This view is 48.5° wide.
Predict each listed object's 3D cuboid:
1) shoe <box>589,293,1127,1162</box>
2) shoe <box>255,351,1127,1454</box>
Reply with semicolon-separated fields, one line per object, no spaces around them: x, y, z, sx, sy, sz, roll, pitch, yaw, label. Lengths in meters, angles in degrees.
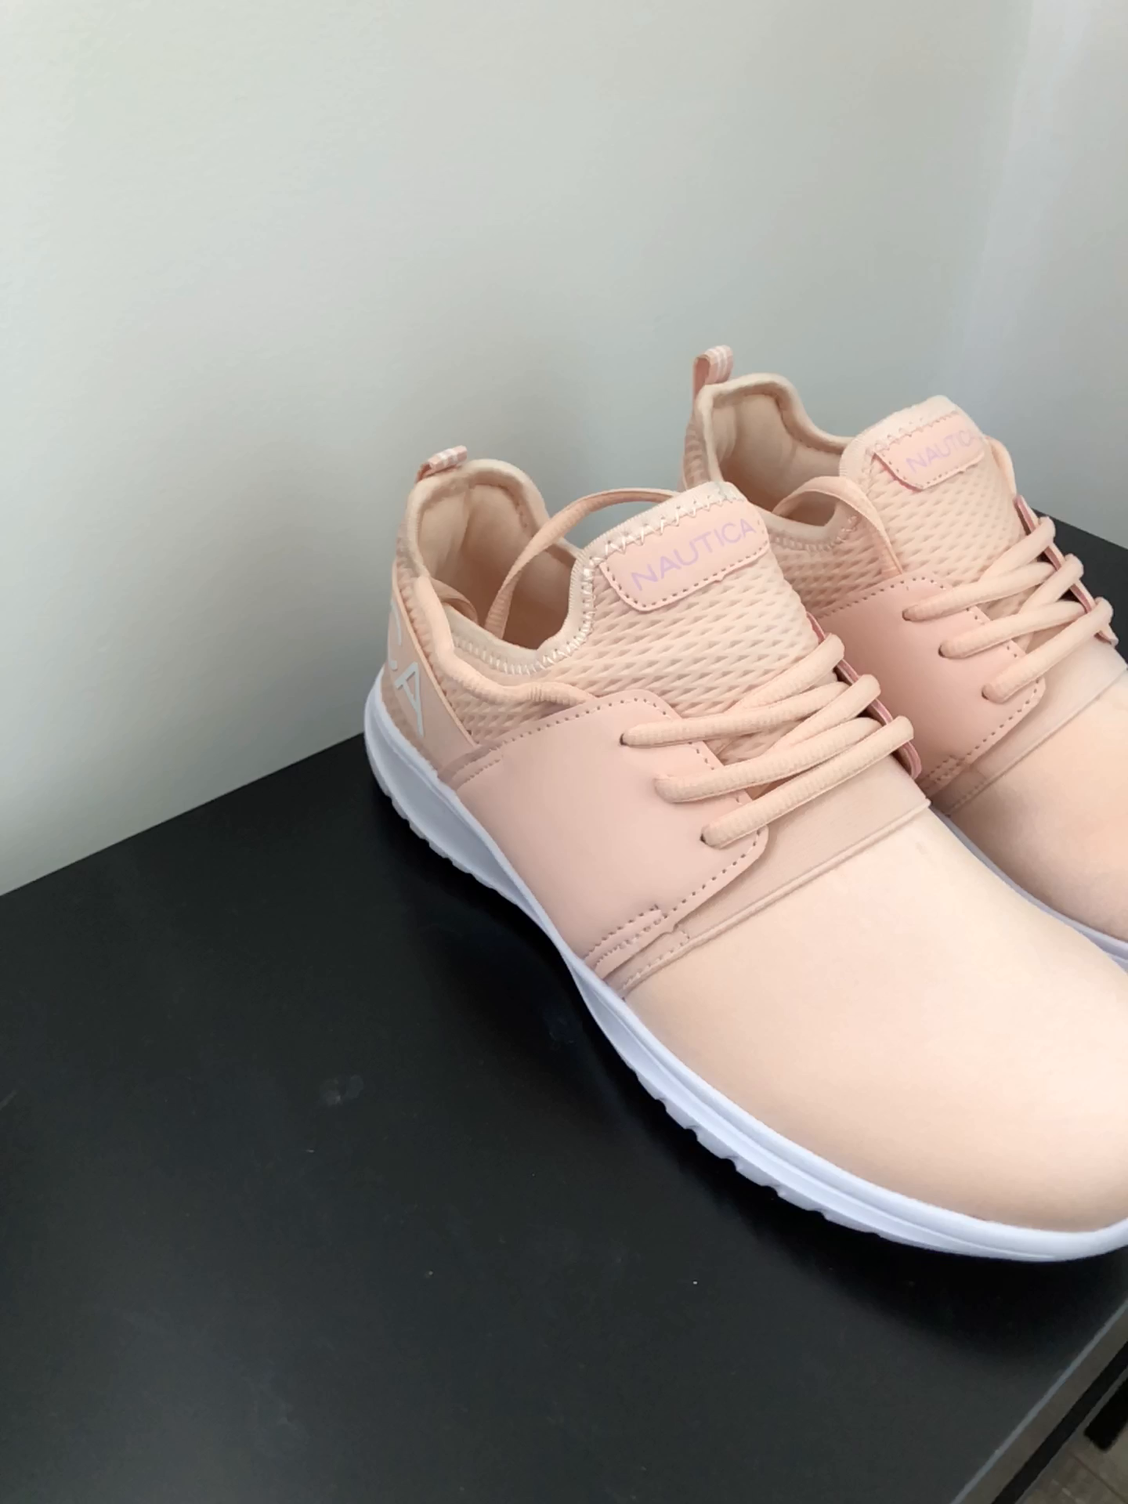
0.127;-0.029;0.341;0.100;0.110;0.241;-26;46;-33;shoe
0.041;0.006;0.296;0.100;0.110;0.251;-26;46;-33;shoe
